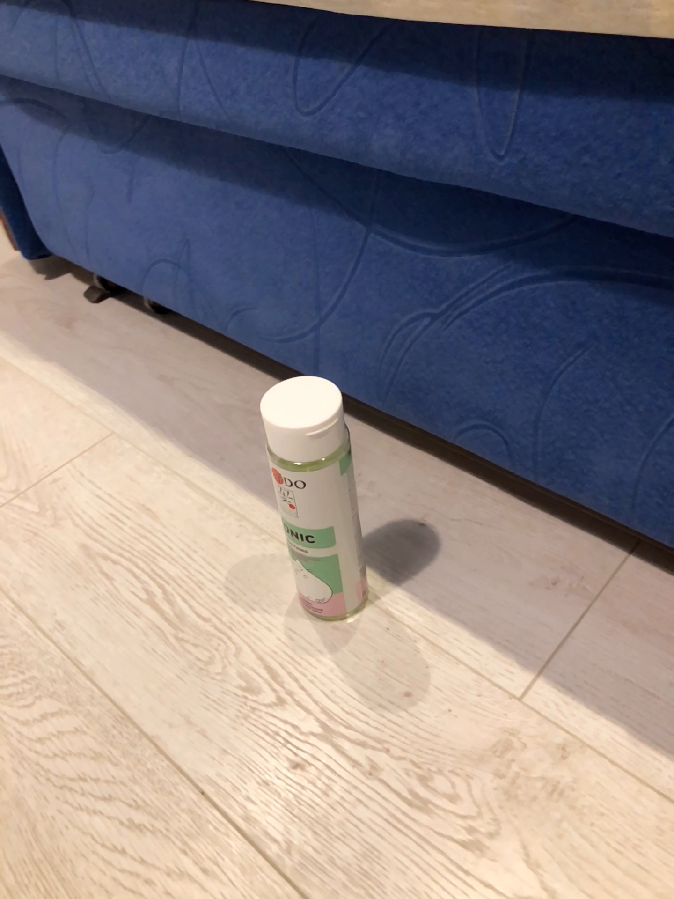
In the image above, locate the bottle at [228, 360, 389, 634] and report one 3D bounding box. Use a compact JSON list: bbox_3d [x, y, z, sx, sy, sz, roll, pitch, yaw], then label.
[{"bbox_3d":[-0.012,0.033,0.450,0.057,0.160,0.053,-4,41,4],"label":"bottle"}]
